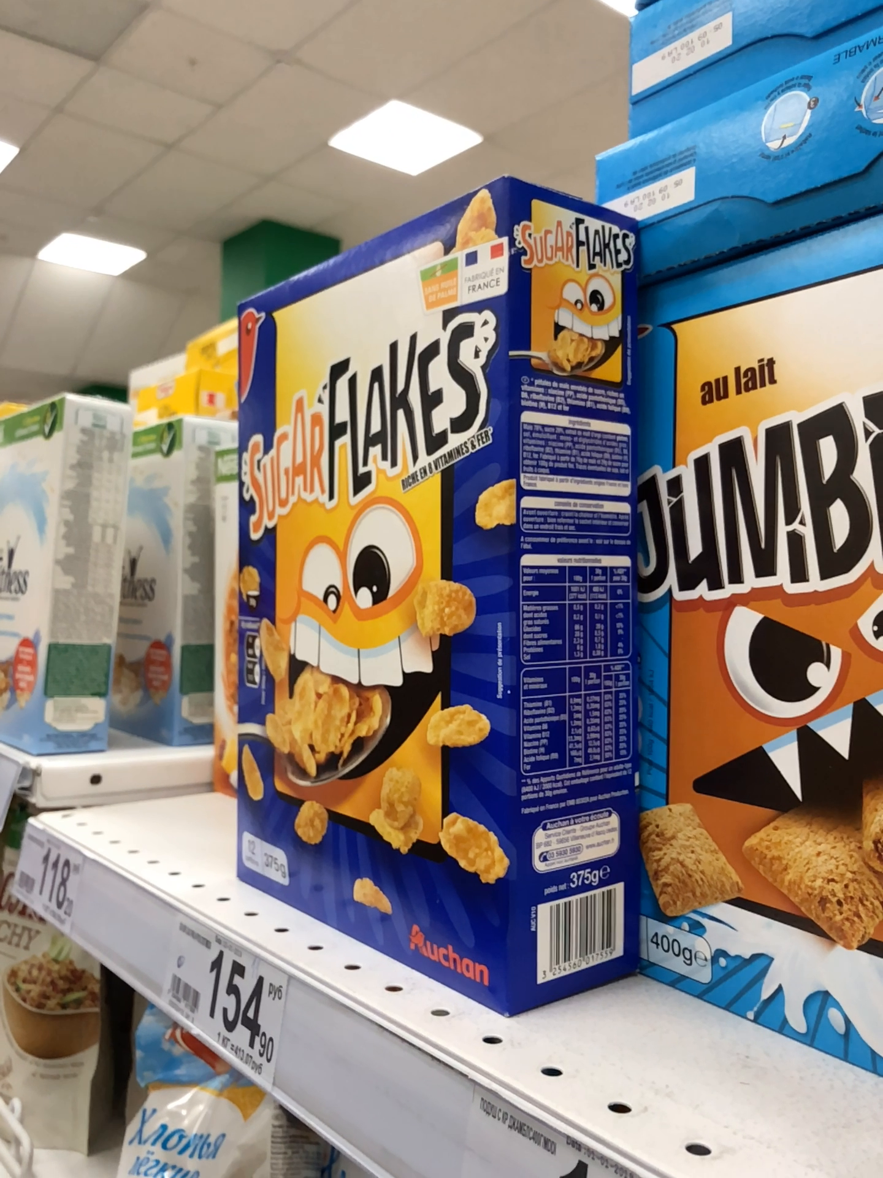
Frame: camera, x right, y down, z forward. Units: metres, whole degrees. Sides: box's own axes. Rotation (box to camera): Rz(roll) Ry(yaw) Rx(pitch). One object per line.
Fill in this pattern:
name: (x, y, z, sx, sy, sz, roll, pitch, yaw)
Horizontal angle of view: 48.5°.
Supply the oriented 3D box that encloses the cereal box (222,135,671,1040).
cereal box: (-0.010, -0.002, 0.404, 0.070, 0.280, 0.200, 2, -1, -38)
